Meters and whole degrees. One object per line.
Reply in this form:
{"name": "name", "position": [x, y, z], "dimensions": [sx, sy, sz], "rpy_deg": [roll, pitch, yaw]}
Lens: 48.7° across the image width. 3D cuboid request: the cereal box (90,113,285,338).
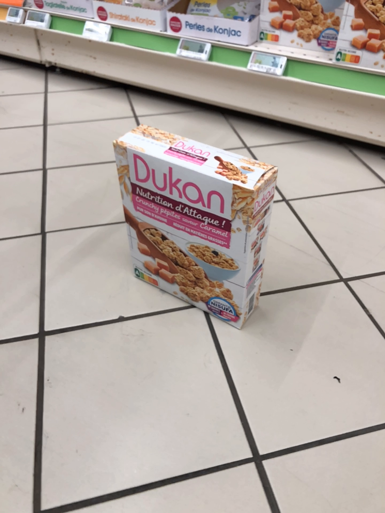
{"name": "cereal box", "position": [-0.010, -0.033, 0.481], "dimensions": [0.190, 0.199, 0.060], "rpy_deg": [24, 45, 24]}
